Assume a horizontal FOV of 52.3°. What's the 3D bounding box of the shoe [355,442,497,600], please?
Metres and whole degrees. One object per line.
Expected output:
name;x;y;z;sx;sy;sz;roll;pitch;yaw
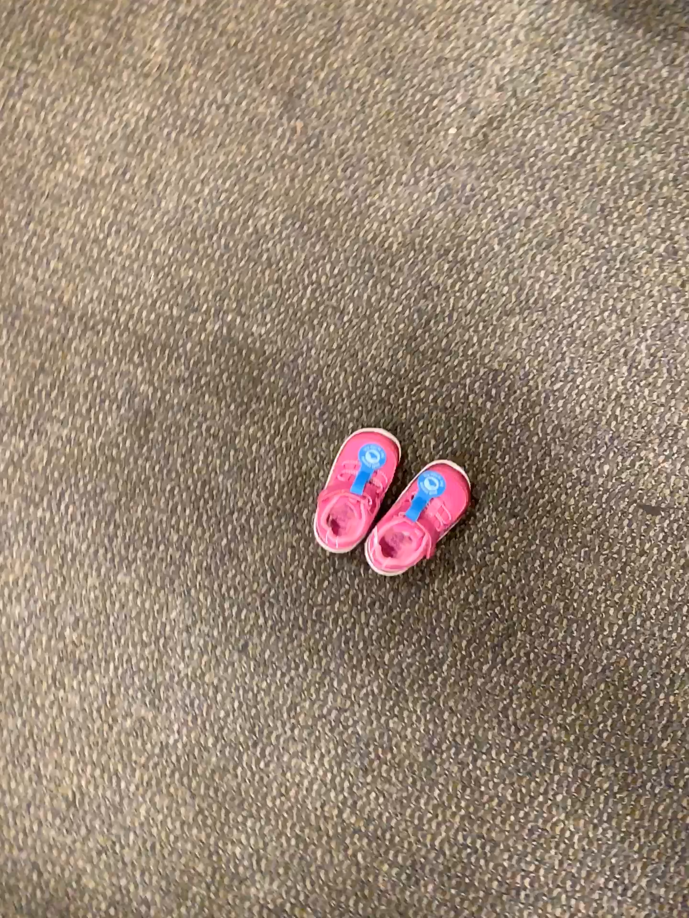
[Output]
shoe;0.081;0.062;0.710;0.070;0.040;0.140;36;88;4

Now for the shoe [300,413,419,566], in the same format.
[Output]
shoe;0.016;0.032;0.735;0.070;0.040;0.140;24;88;3
